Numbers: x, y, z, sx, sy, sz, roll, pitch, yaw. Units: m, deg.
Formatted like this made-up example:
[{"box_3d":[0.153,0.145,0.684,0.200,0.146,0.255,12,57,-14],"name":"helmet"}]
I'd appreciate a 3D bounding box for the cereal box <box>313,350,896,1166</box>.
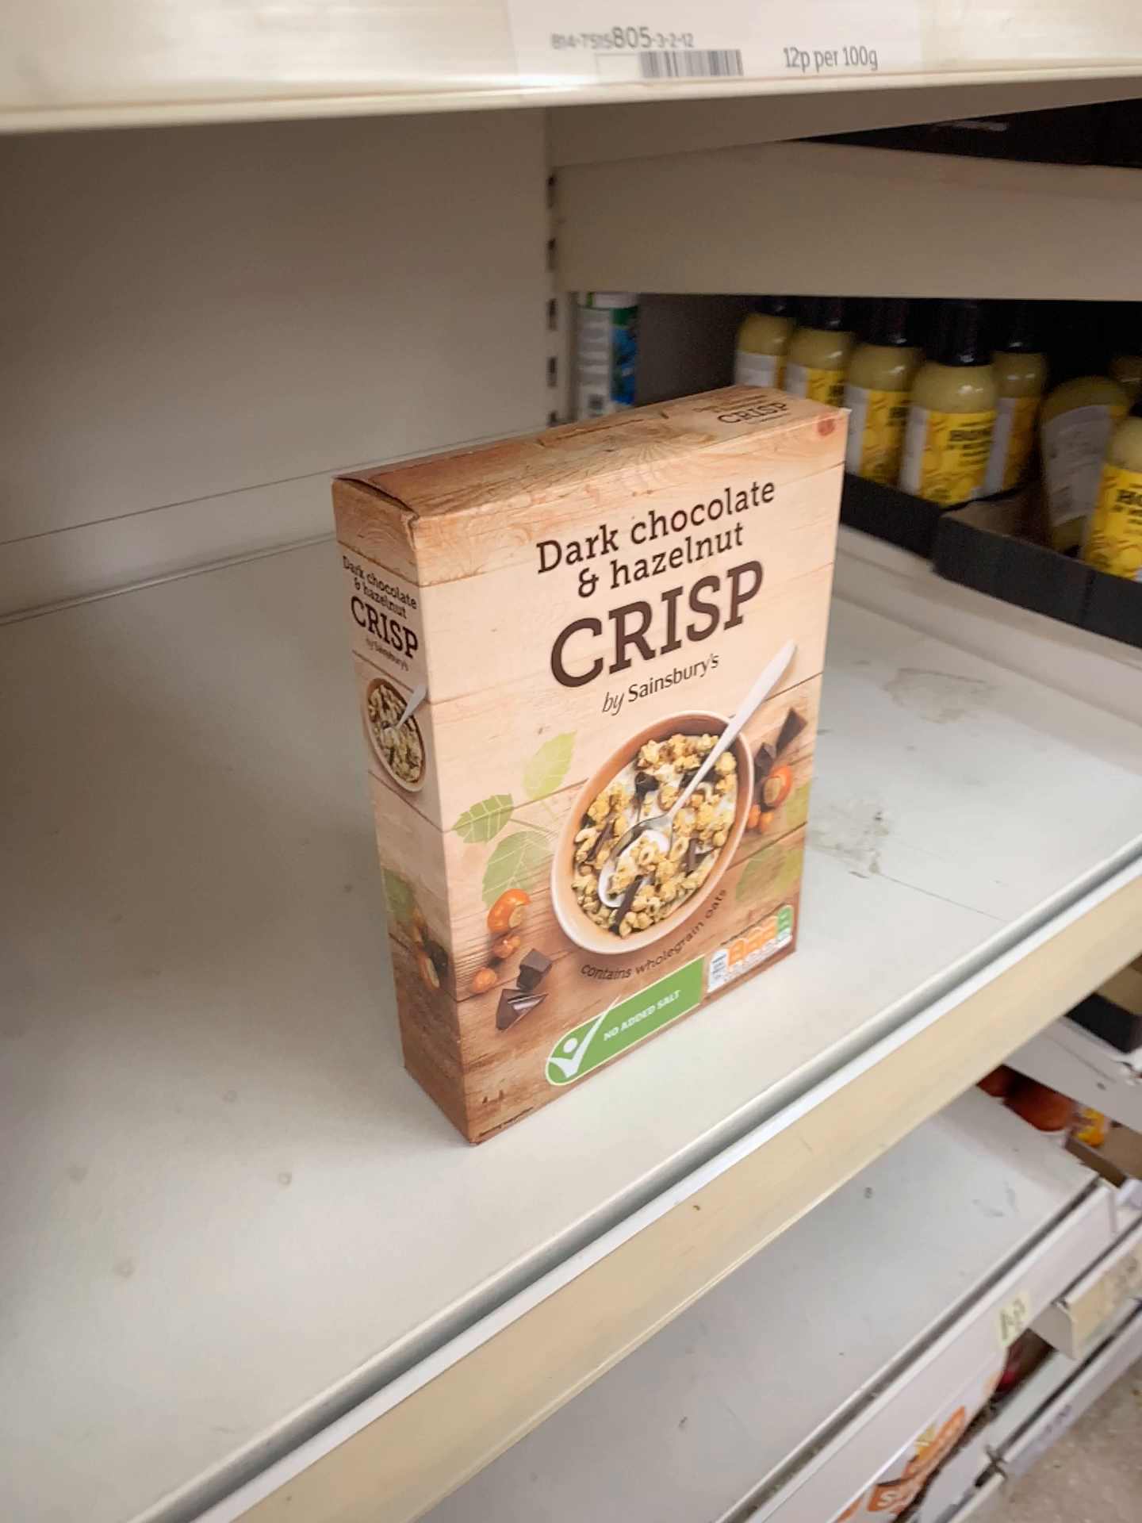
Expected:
[{"box_3d":[0.020,-0.005,0.433,0.191,0.248,0.060,-22,36,-32],"name":"cereal box"}]
